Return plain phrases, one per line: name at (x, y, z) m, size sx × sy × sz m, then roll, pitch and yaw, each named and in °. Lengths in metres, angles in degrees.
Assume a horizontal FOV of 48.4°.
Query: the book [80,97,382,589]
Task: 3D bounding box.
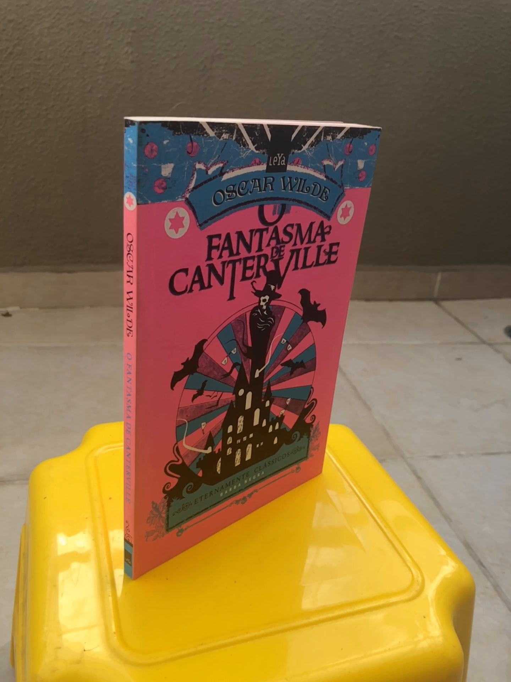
book at (-0.009, 0.000, 0.286) m, size 0.151 × 0.219 × 0.020 m, roll -17°, pitch 33°, yaw -40°
